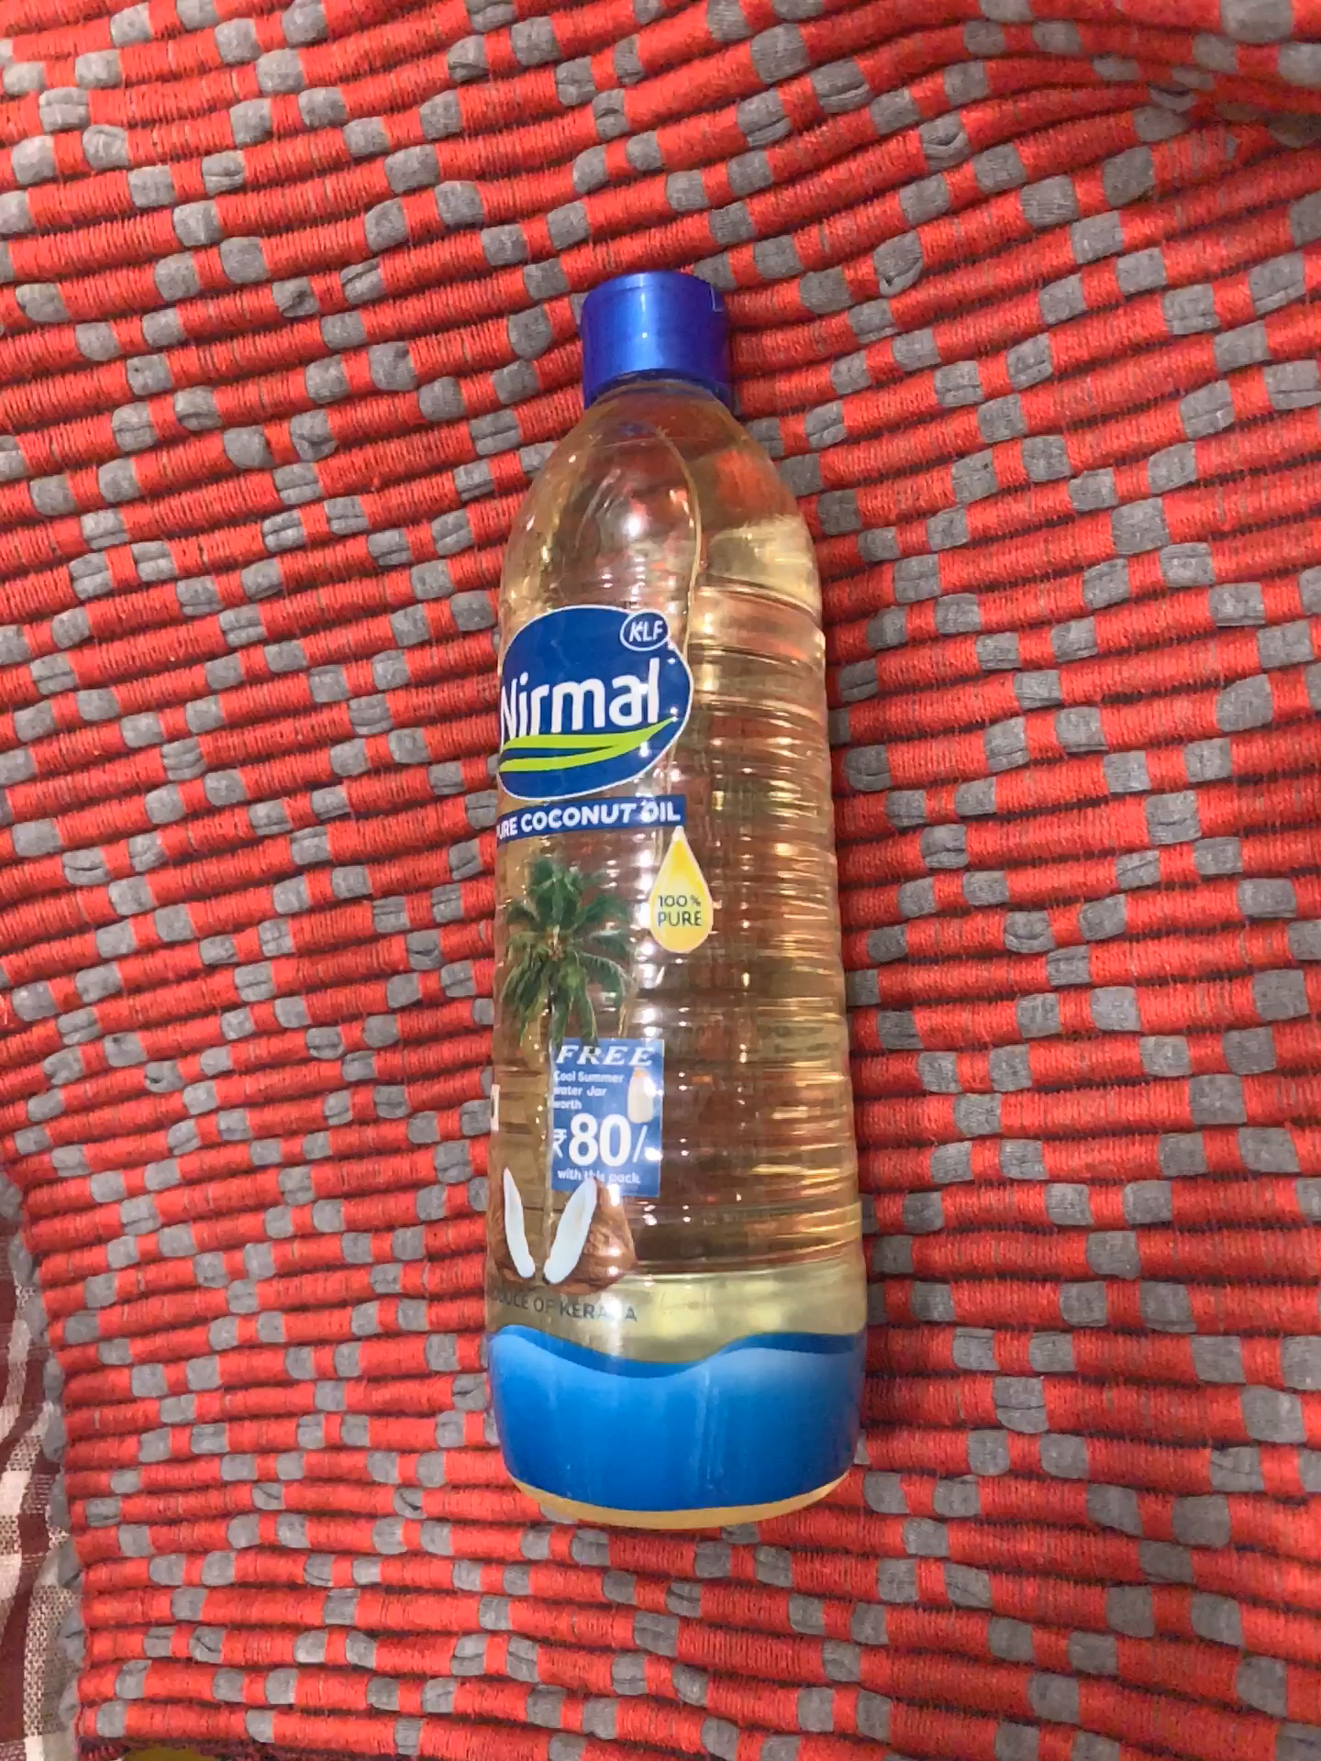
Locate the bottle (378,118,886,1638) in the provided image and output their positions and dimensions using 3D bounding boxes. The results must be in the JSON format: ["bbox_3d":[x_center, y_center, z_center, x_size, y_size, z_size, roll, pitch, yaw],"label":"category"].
[{"bbox_3d":[-0.004,-0.002,0.217,0.060,0.050,0.200,-3,85,33],"label":"bottle"}]
